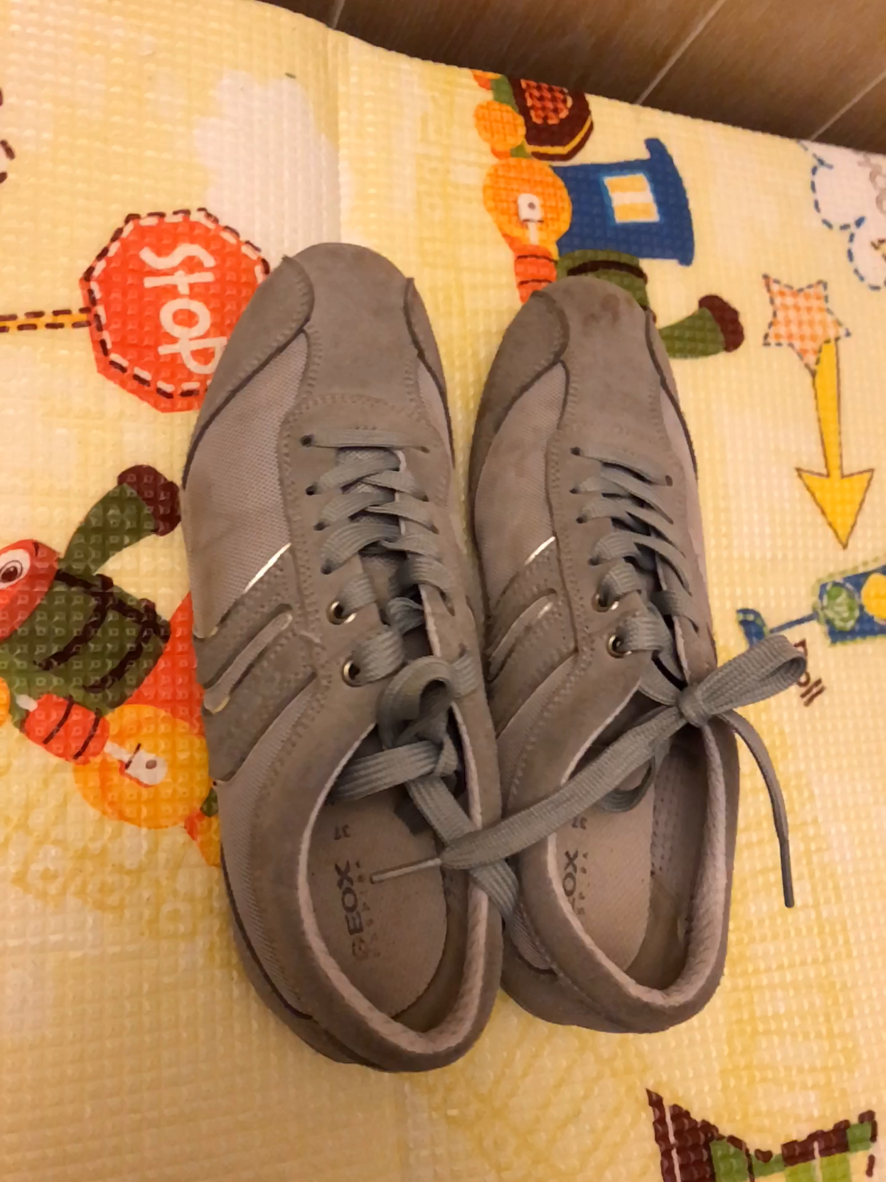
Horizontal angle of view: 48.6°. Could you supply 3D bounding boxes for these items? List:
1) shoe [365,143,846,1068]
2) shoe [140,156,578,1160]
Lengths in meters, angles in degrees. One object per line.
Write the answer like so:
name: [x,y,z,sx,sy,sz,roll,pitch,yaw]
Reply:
shoe: [0.047,0.009,0.308,0.090,0.120,0.230,9,77,-18]
shoe: [-0.038,0.015,0.295,0.090,0.120,0.230,-1,80,-20]
